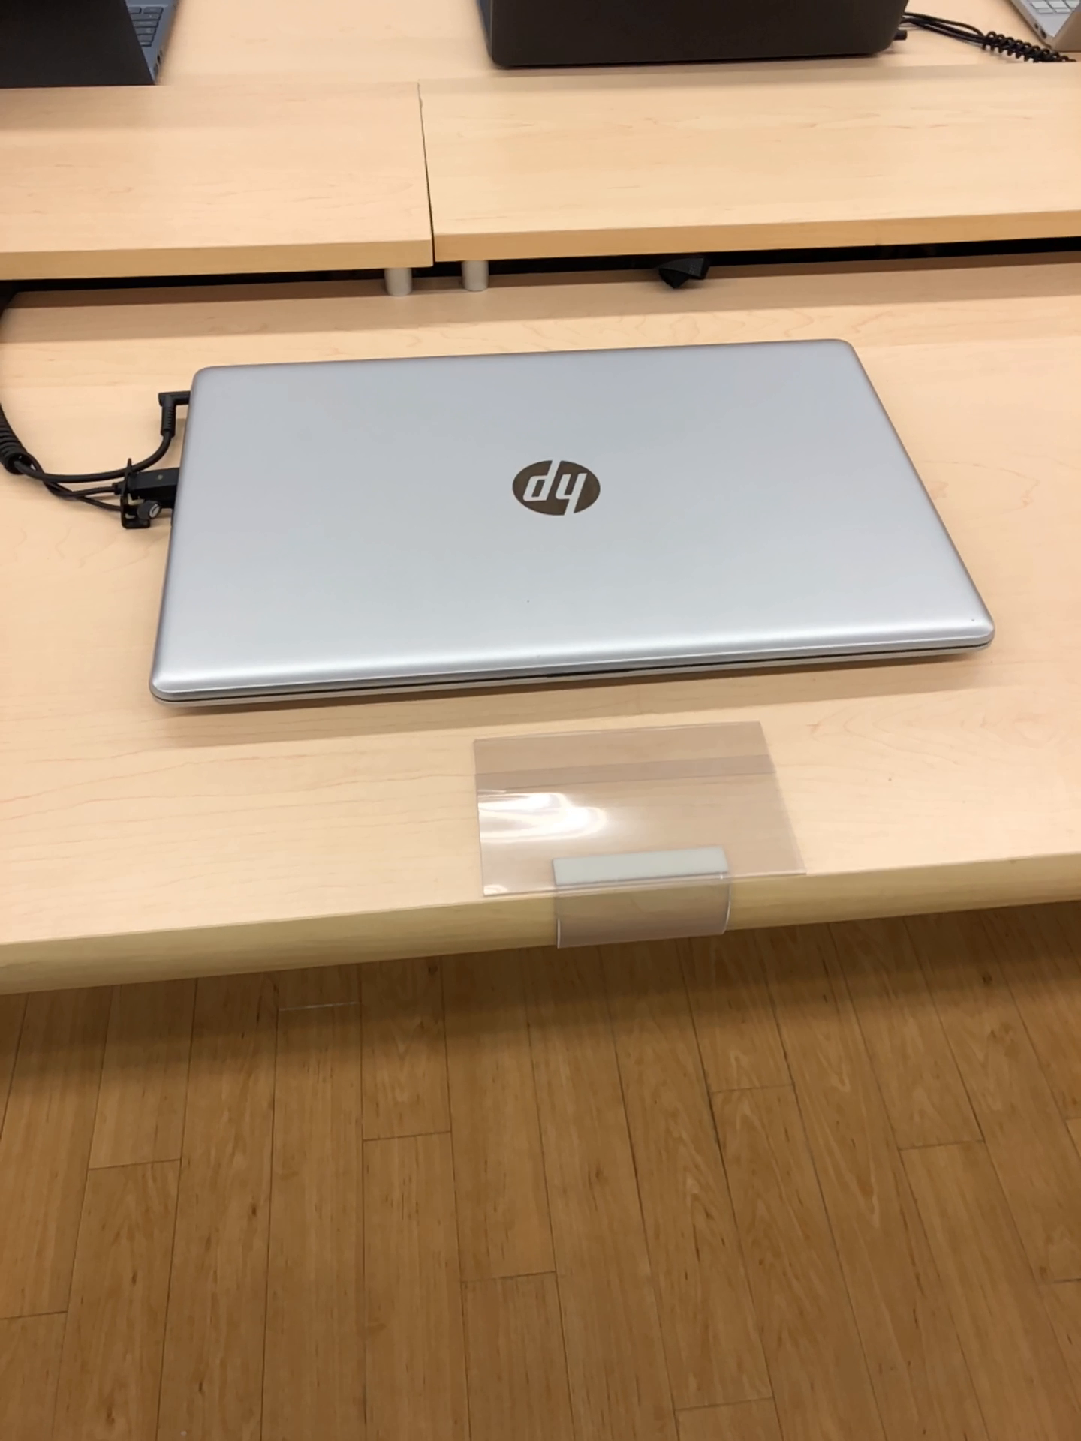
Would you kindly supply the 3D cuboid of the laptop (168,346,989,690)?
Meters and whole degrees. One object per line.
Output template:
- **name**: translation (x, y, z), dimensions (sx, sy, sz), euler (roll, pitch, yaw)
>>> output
- **laptop**: translation (0.009, -0.126, 0.654), dimensions (0.397, 0.001, 0.258), euler (-4, 50, -5)
